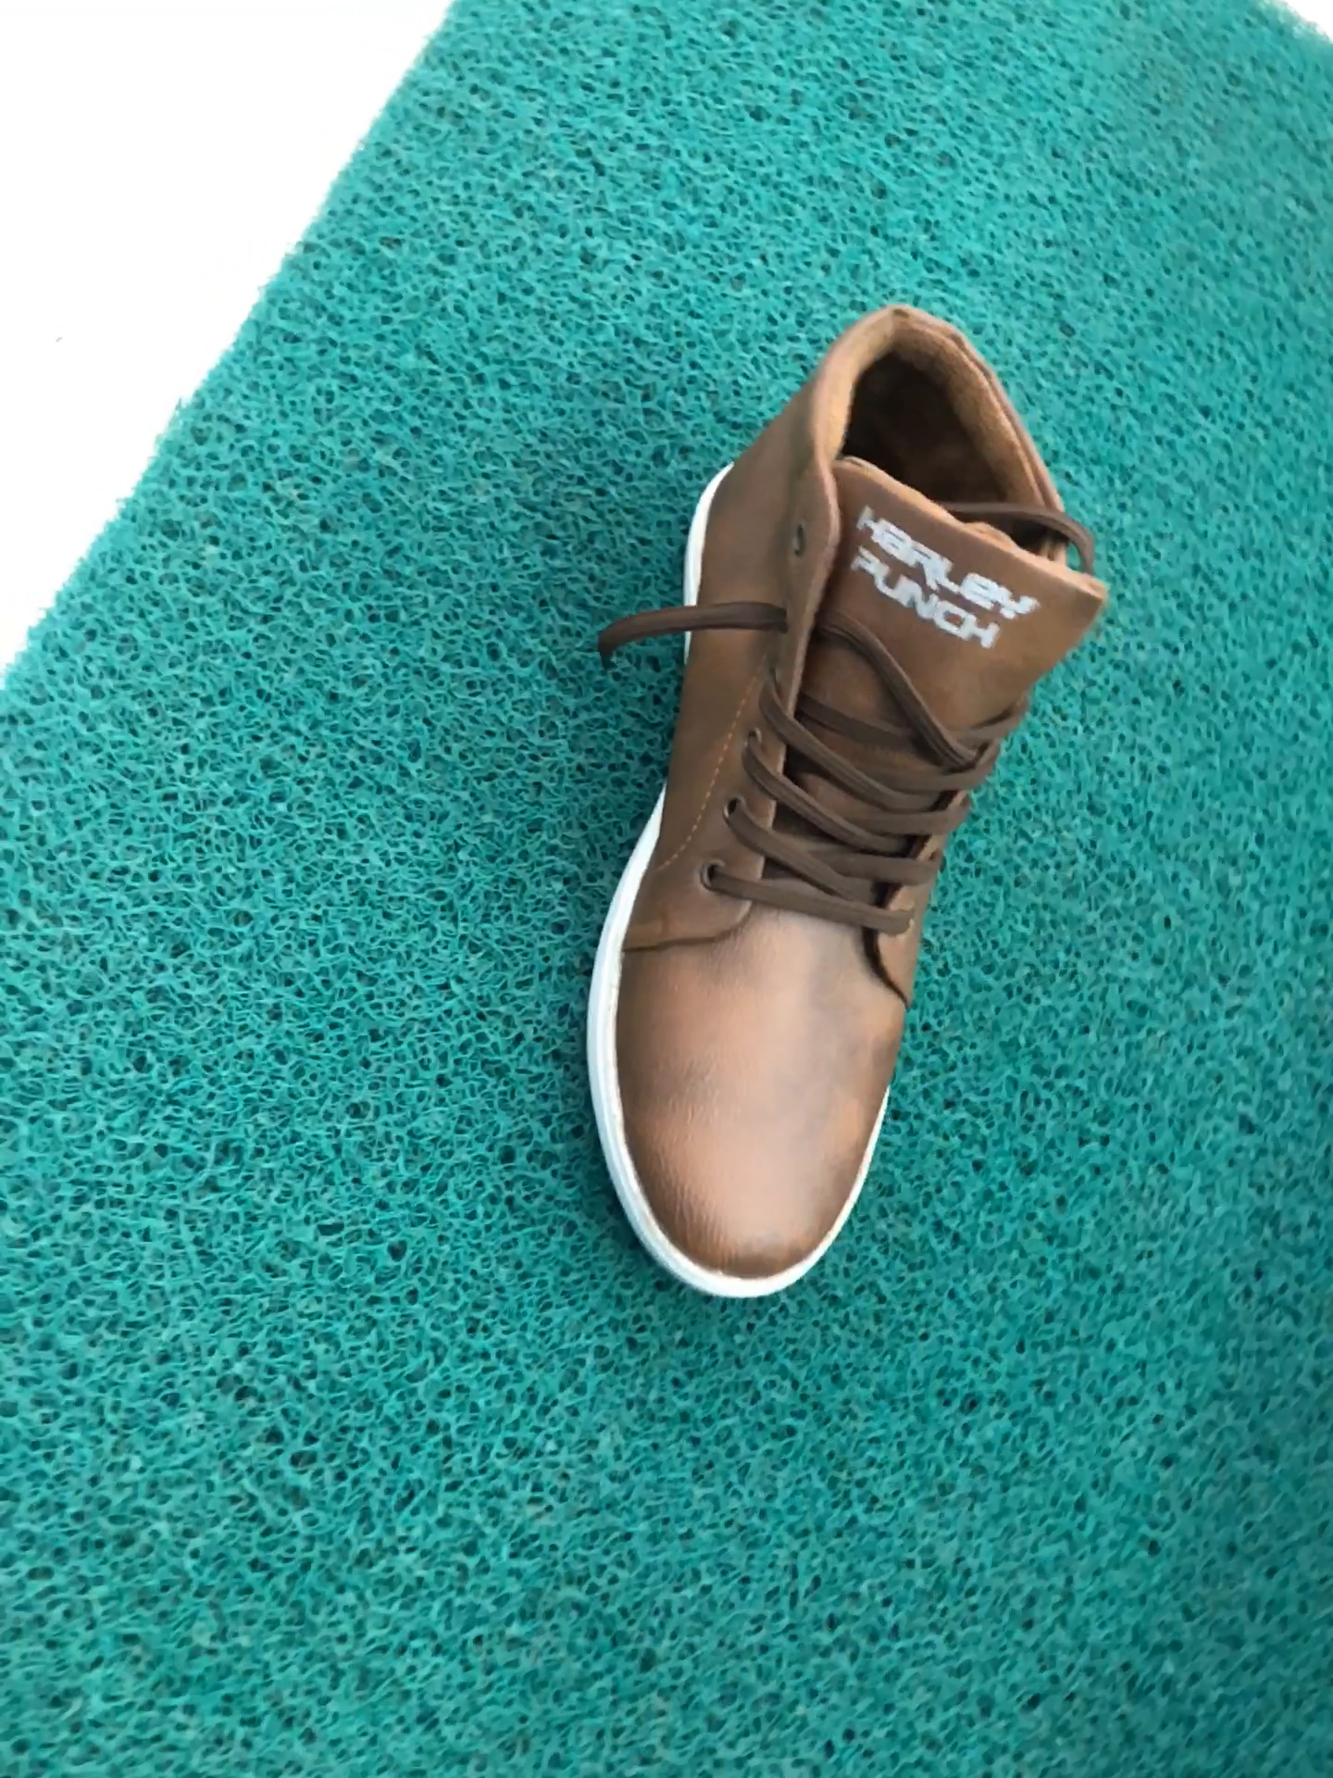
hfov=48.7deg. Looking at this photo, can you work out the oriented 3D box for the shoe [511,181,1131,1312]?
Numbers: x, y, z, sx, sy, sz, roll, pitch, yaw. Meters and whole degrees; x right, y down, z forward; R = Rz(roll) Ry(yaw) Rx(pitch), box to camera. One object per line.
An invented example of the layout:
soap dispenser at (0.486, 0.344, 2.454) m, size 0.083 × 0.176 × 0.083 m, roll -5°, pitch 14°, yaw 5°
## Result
shoe at (0.039, -0.020, 0.435) m, size 0.090 × 0.189 × 0.270 m, roll 12°, pitch 71°, yaw -16°
